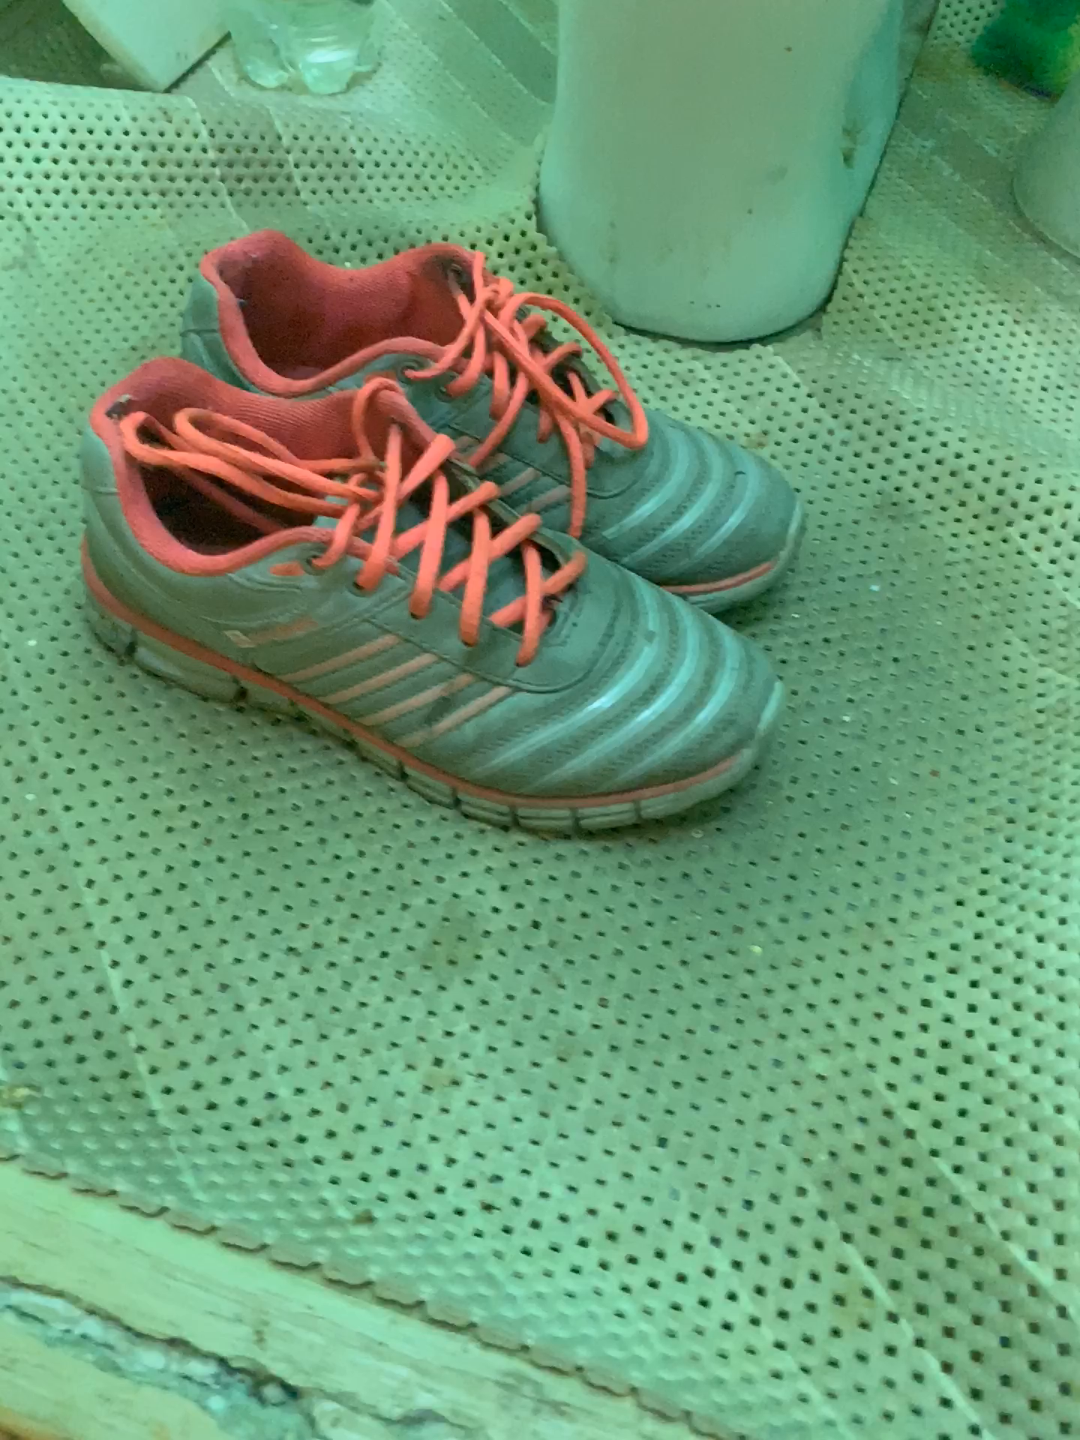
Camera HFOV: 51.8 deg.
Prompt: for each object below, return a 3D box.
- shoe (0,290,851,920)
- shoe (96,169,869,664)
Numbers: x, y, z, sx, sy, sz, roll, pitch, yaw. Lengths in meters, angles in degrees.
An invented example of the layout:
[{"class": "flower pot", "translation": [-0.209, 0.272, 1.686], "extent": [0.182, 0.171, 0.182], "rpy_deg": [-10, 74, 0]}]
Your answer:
[{"class": "shoe", "translation": [-0.046, -0.044, 0.388], "extent": [0.268, 0.089, 0.111], "rpy_deg": [20, 56, 8]}, {"class": "shoe", "translation": [-0.018, -0.125, 0.454], "extent": [0.270, 0.089, 0.111], "rpy_deg": [15, 56, 5]}]
